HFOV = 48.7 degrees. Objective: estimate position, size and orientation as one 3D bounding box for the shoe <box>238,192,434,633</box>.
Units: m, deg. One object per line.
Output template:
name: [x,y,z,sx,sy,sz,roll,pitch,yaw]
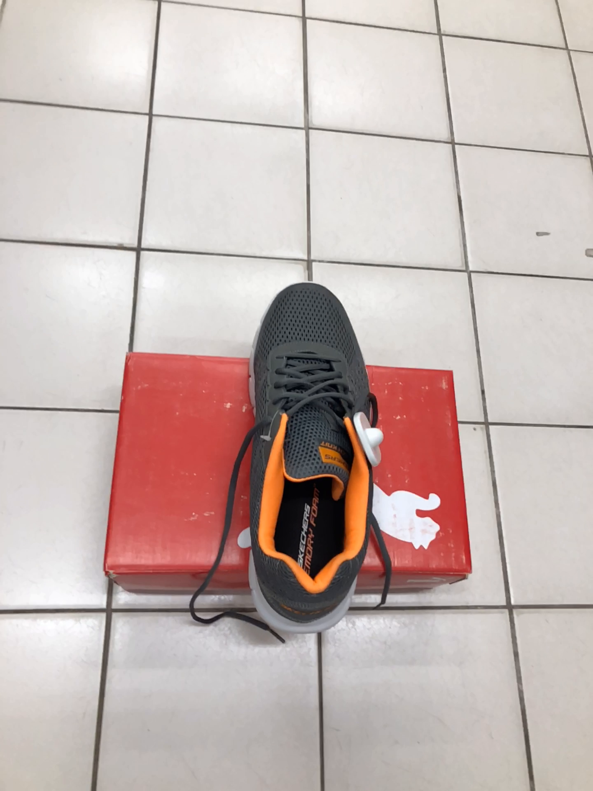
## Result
shoe: [0.019,0.018,0.510,0.110,0.139,0.311,3,69,-8]
